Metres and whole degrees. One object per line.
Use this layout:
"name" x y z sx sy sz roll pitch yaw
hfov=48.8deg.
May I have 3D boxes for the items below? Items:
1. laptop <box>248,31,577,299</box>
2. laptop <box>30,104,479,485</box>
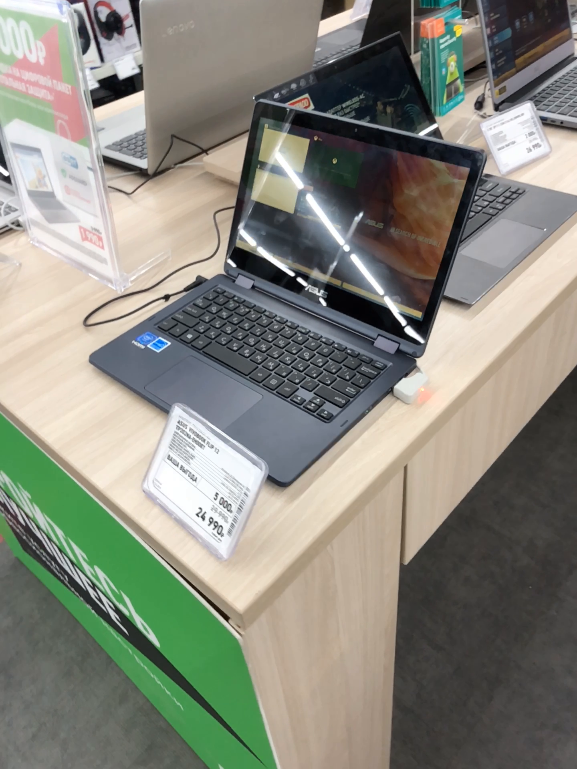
"laptop" 0.162 -0.282 0.763 0.299 0.162 0.262 29 53 33
"laptop" -0.021 -0.112 0.602 0.270 0.166 0.281 28 52 32
